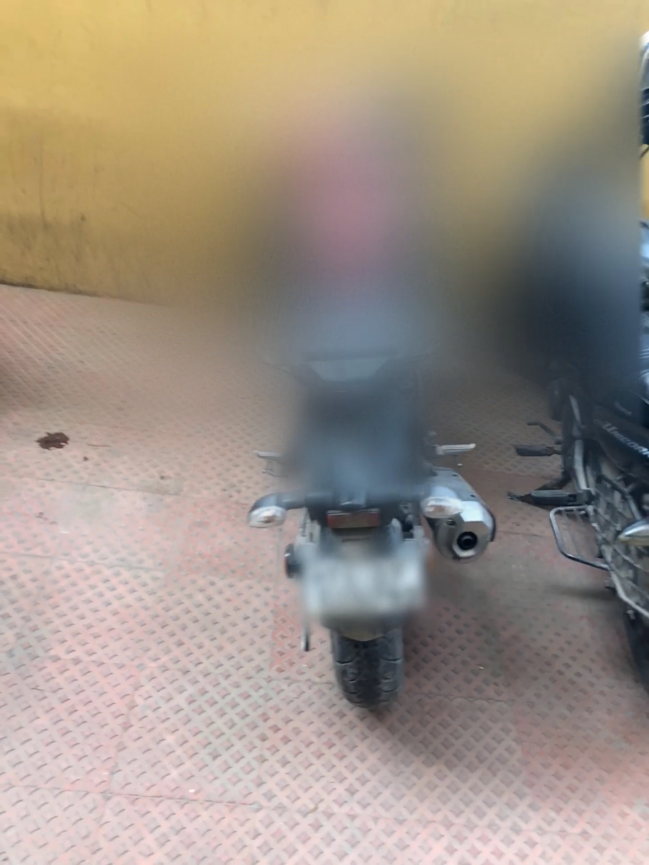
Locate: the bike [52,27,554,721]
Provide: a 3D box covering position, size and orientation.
[{"bbox_3d":[-0.180,-0.345,1.933,0.725,0.869,1.754,3,40,-9],"label":"bike"}]
